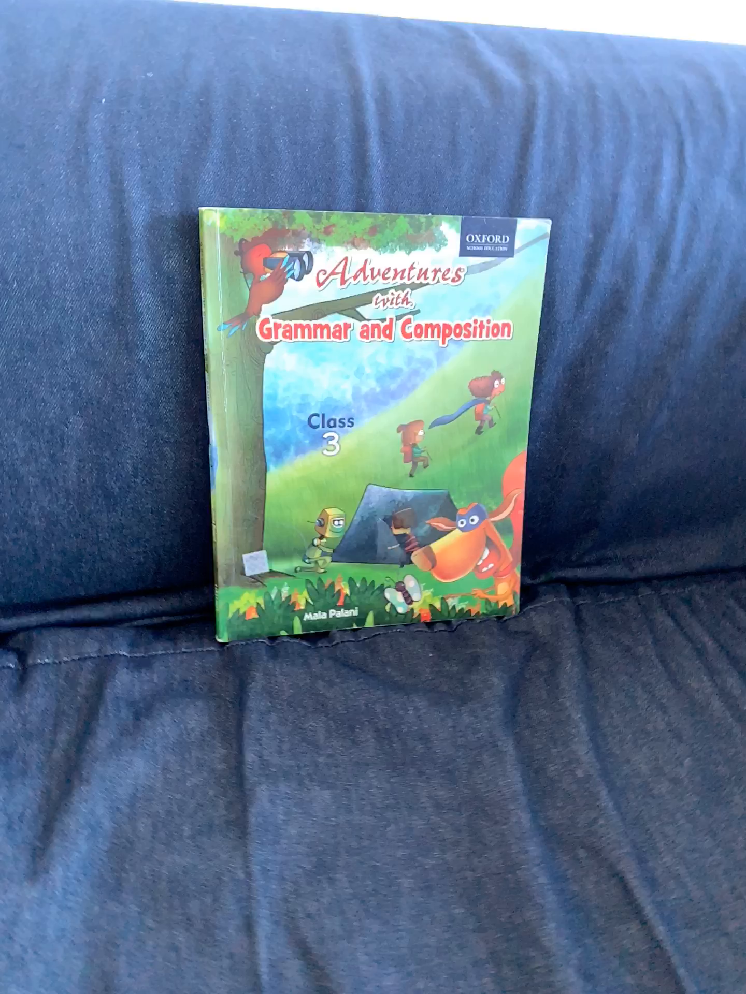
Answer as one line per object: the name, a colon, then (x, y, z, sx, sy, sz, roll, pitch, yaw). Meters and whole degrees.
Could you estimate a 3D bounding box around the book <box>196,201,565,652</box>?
book: (0.003, -0.039, 0.483, 0.212, 0.269, 0.030, -3, 18, -12)
